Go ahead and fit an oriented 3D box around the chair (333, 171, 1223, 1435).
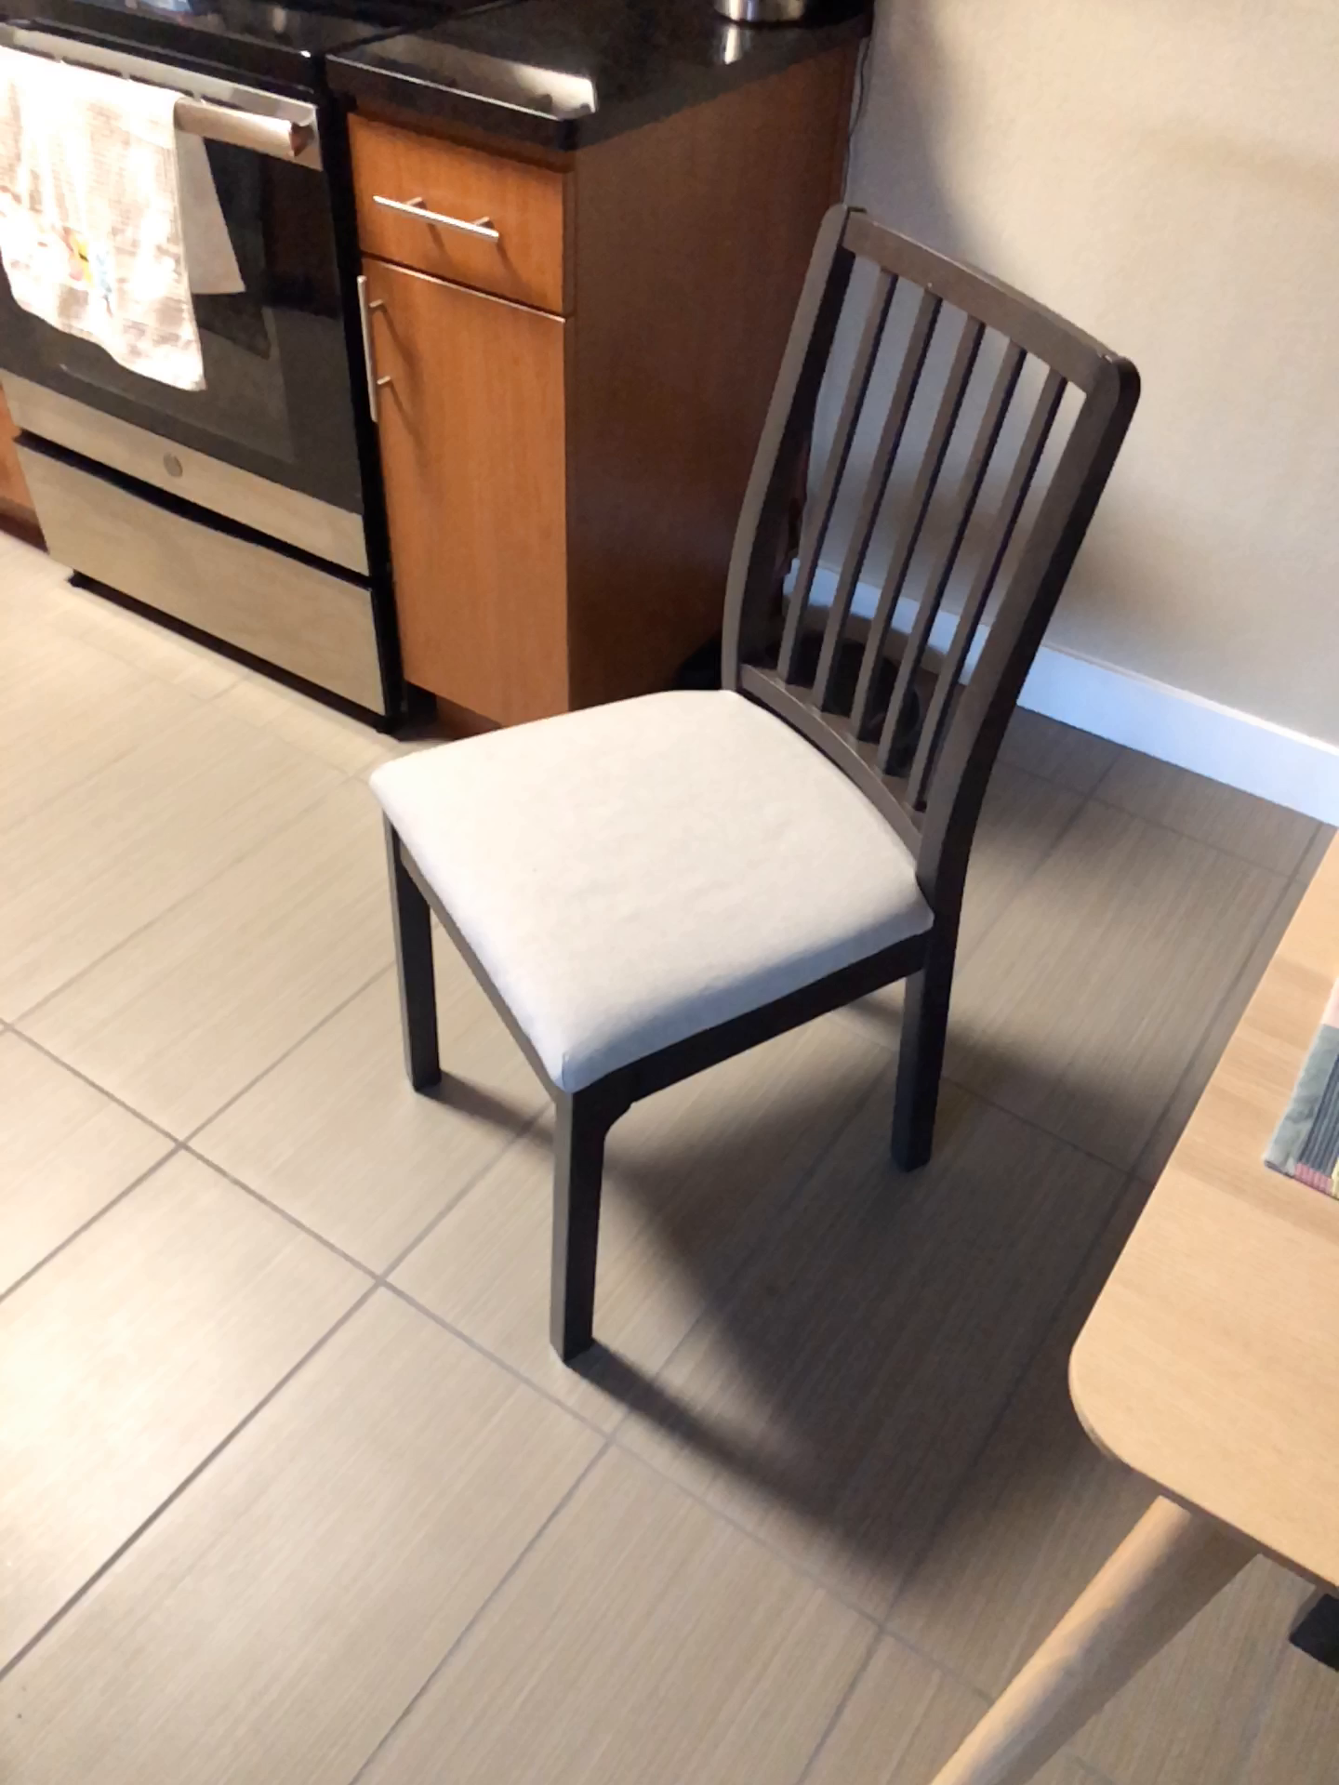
[{"bbox_3d":[0.034,-0.036,1.494,0.510,1.125,0.482,-16,45,-20],"label":"chair"}]
